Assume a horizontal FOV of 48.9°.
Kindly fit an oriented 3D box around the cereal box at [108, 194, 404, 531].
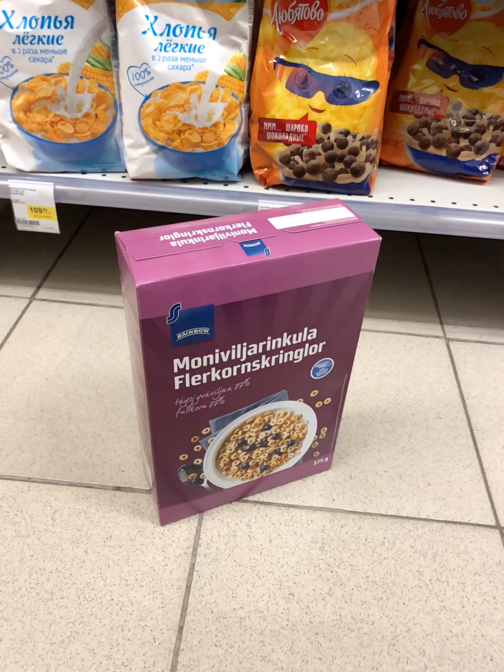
[{"bbox_3d":[-0.001,0.032,0.507,0.210,0.278,0.080,-13,41,-19],"label":"cereal box"}]
